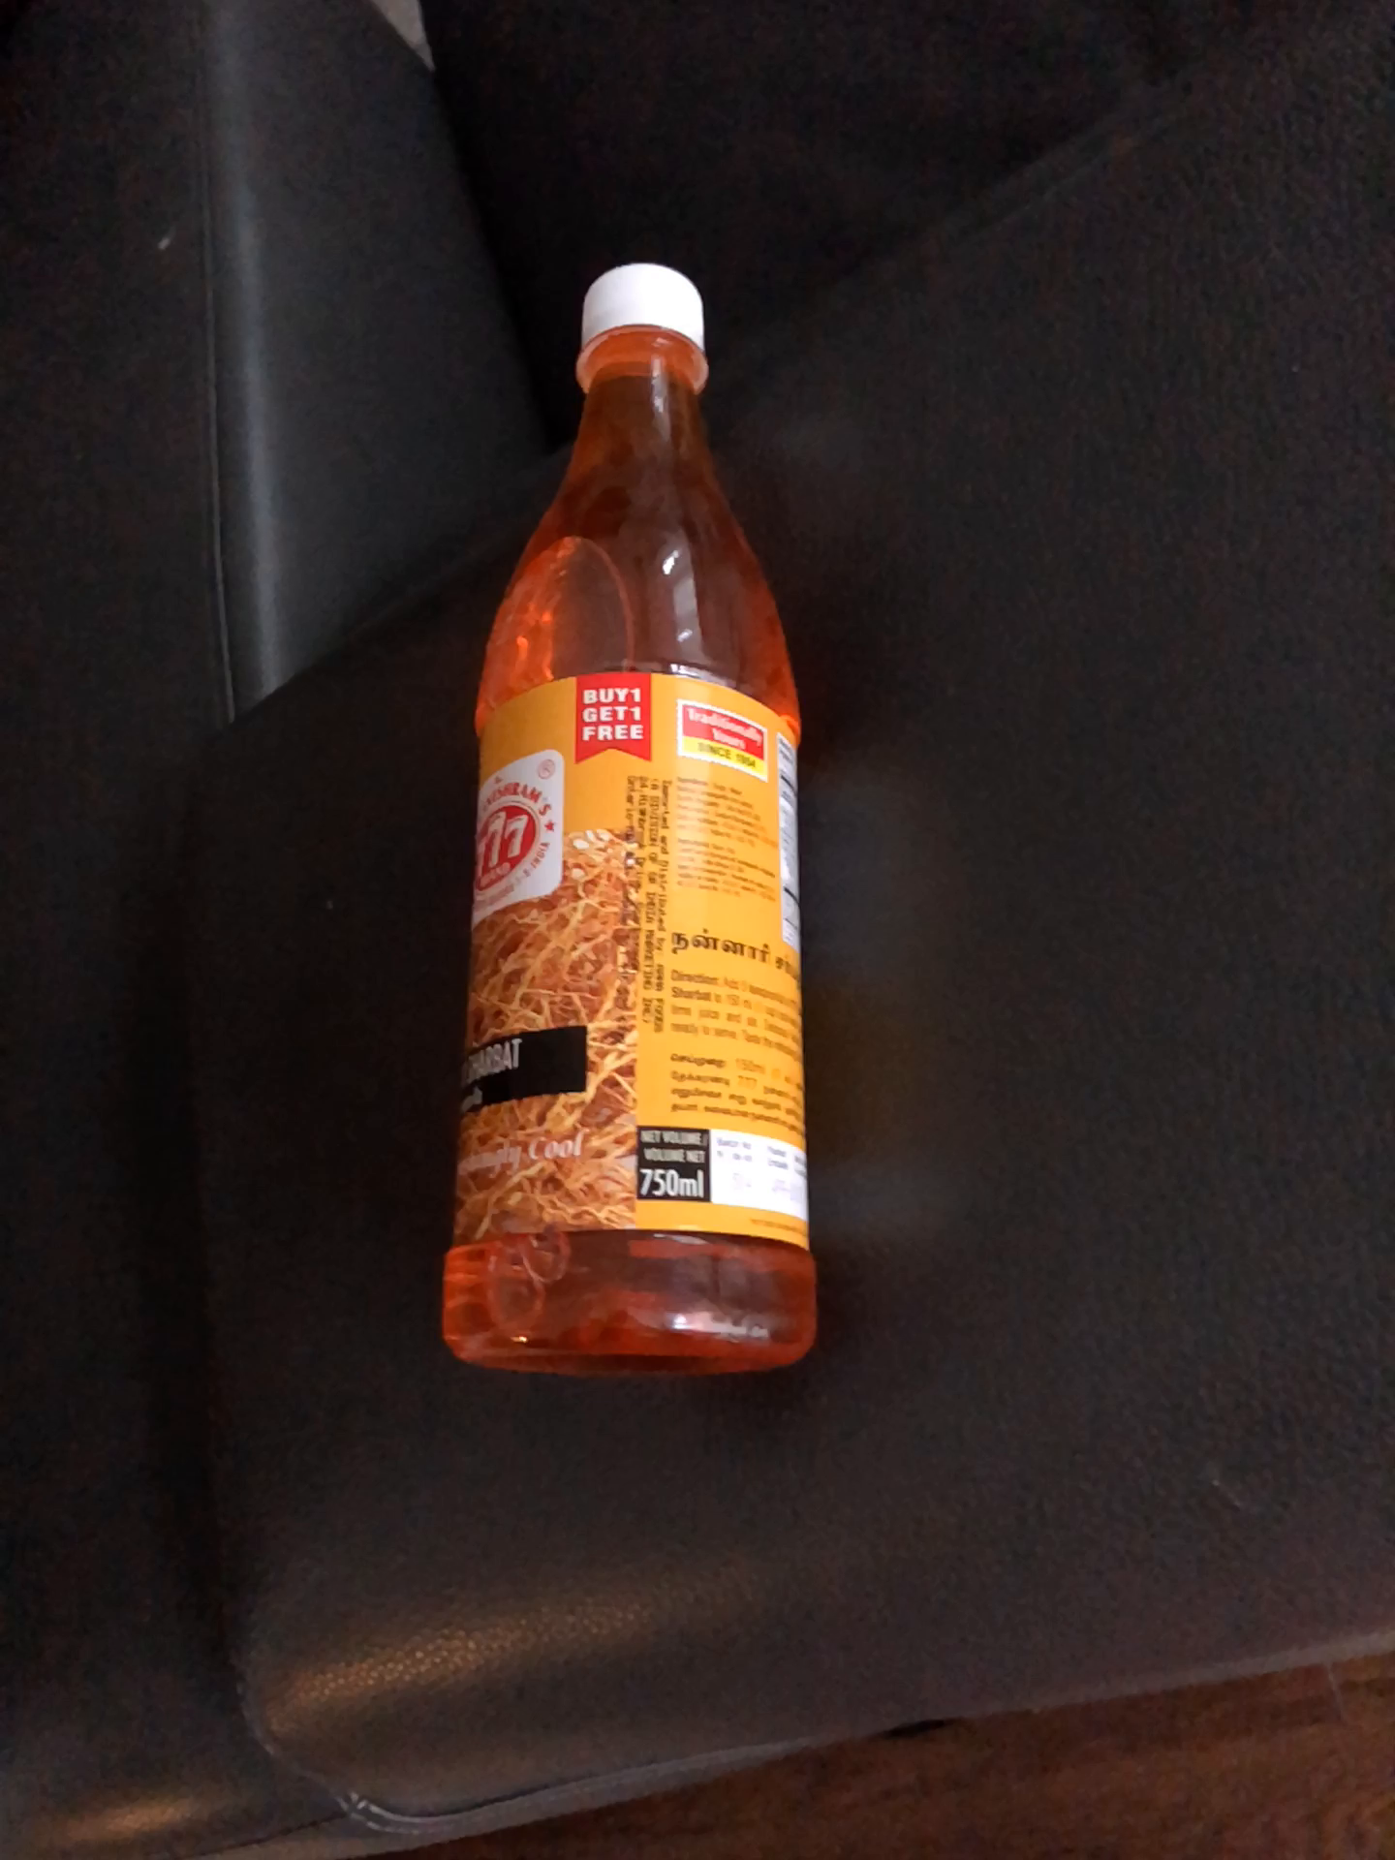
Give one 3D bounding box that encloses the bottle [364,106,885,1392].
[{"bbox_3d":[-0.015,-0.042,0.363,0.080,0.070,0.280,-21,61,44],"label":"bottle"}]
